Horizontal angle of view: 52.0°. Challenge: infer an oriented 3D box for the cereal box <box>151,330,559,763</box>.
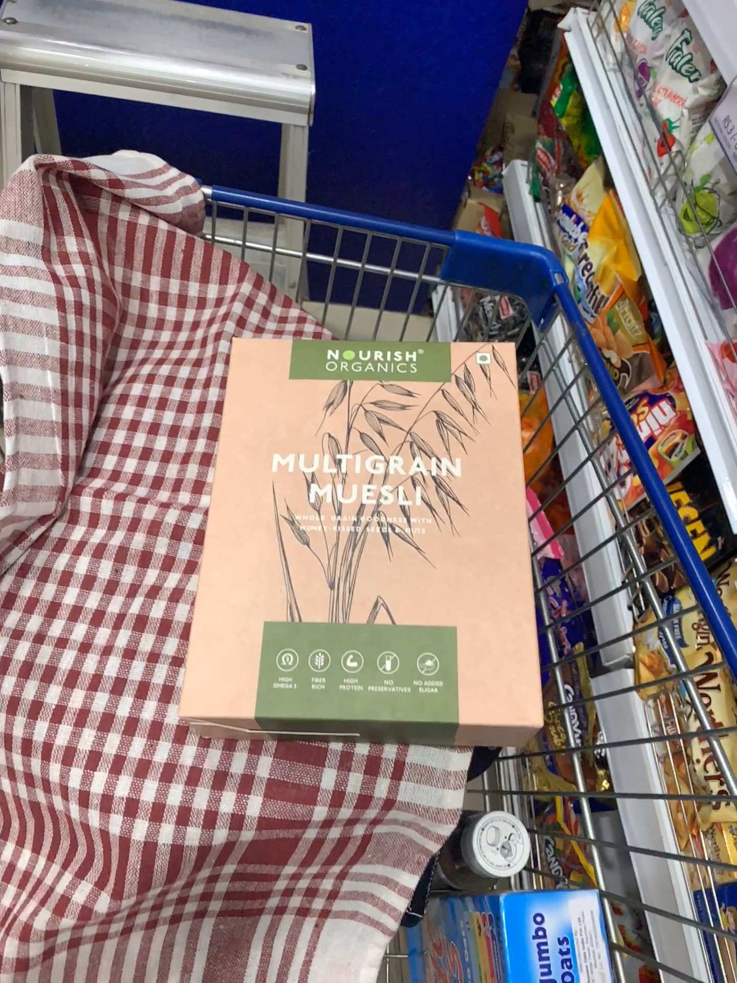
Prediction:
[{"bbox_3d":[-0.003,0.020,0.365,0.160,0.050,0.200,2,63,0],"label":"cereal box"}]
